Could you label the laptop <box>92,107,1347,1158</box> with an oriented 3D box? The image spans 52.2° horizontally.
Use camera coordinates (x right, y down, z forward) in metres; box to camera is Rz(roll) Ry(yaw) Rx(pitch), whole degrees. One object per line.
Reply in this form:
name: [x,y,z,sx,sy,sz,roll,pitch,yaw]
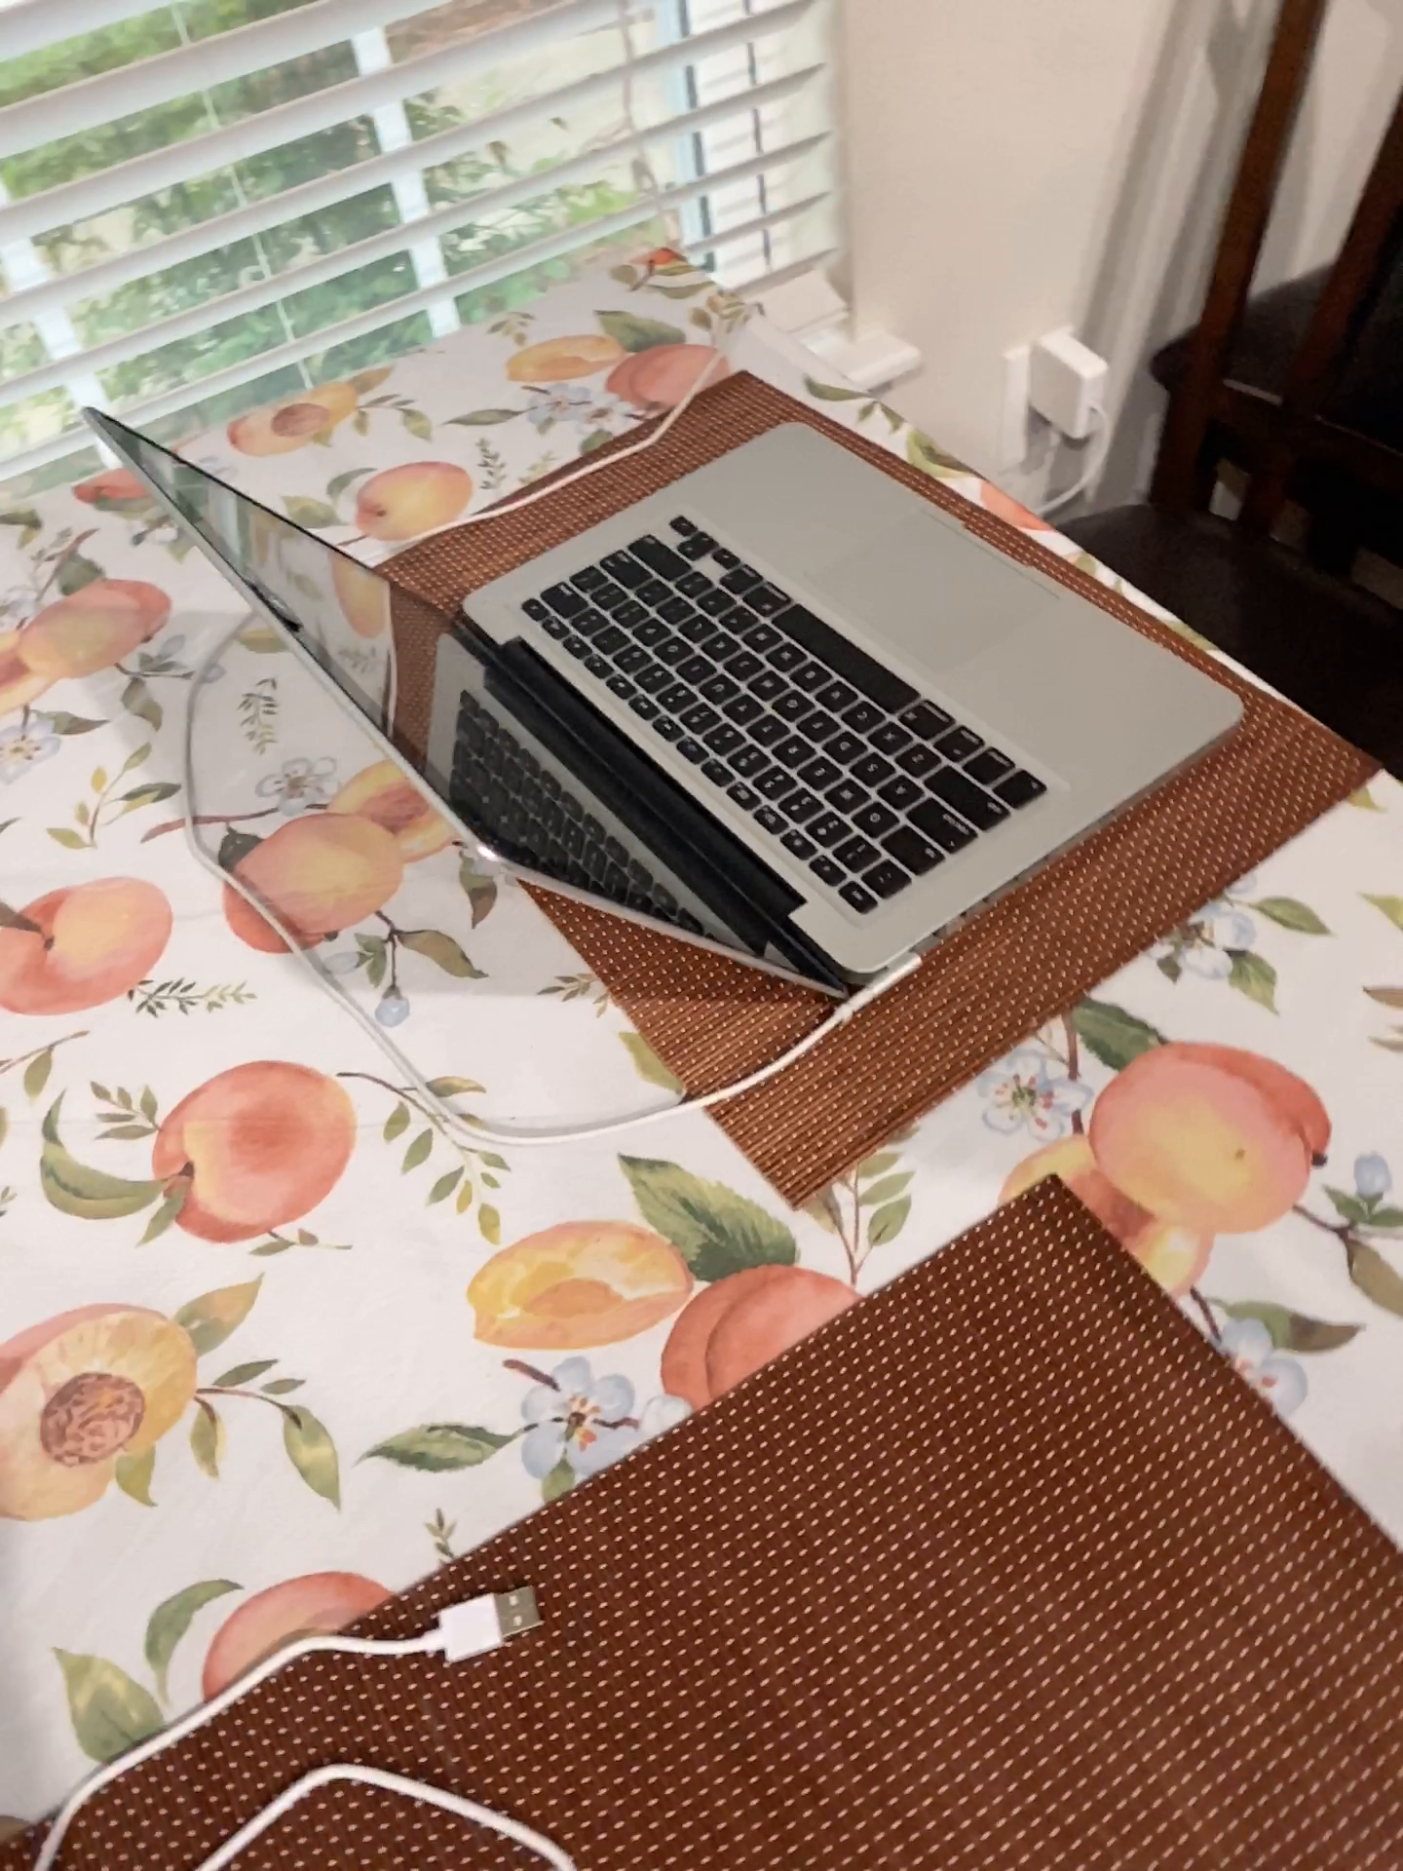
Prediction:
laptop: [0.001,-0.154,0.598,0.349,0.163,0.318,-33,55,-17]
